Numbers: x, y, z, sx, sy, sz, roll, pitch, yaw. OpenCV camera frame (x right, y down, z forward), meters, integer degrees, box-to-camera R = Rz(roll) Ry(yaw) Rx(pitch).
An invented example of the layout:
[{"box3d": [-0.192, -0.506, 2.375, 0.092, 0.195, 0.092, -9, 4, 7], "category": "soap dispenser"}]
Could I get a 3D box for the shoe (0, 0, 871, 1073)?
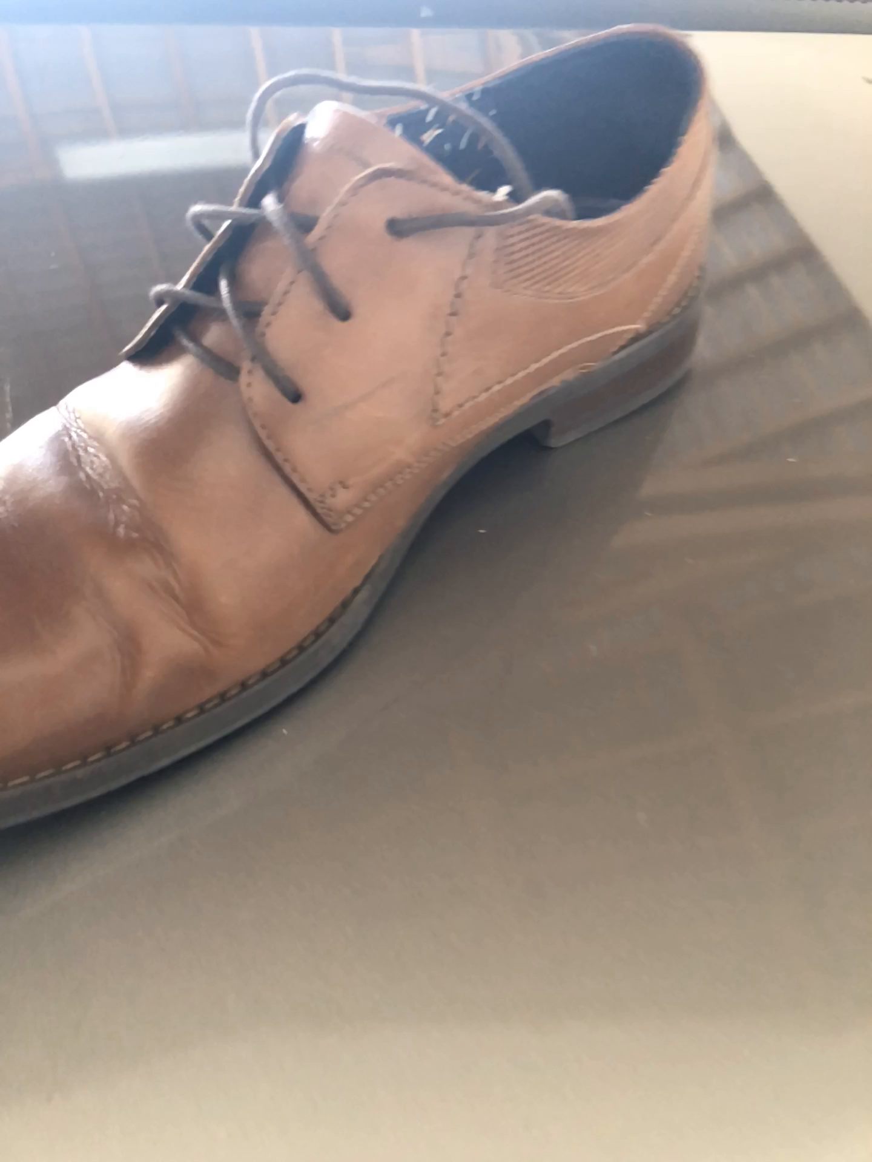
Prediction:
[{"box3d": [-0.035, -0.062, 0.240, 0.342, 0.089, 0.130, -29, 47, -26], "category": "shoe"}]
